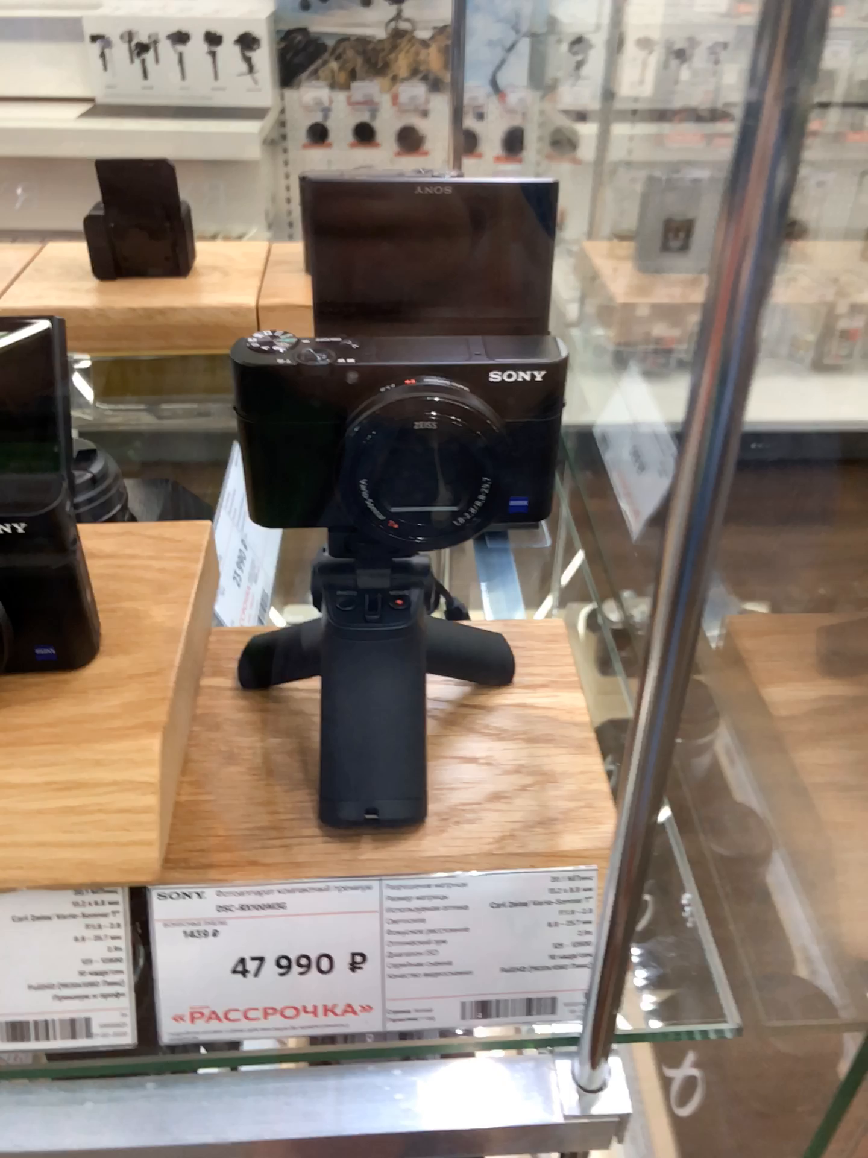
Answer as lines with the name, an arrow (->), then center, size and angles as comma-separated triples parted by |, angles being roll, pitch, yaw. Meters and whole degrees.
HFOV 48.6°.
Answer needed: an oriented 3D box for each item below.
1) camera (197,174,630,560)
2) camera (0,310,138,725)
camera -> -0.007, -0.064, 0.294 | 0.108, 0.097, 0.063 | -1, 35, -3
camera -> -0.156, -0.019, 0.281 | 0.108, 0.097, 0.070 | -1, 35, -3
